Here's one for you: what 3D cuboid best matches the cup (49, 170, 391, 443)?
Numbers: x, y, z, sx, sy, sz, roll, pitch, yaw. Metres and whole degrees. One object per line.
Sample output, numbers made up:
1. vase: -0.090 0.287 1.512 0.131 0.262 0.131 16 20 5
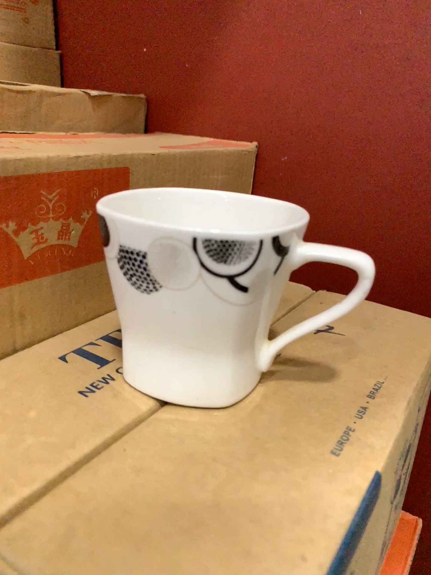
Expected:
1. cup: 0.003 -0.002 0.152 0.090 0.060 0.060 9 21 13
